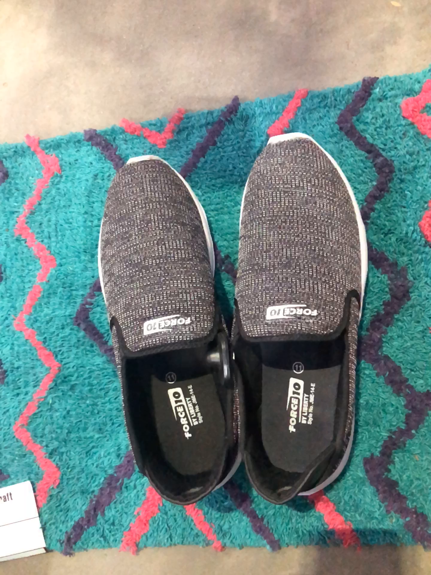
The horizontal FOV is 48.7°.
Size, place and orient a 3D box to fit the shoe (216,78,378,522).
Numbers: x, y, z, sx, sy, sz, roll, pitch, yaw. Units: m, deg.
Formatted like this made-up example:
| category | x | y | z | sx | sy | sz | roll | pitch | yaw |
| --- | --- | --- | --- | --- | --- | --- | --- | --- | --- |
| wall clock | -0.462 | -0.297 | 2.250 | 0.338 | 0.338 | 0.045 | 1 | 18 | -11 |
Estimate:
| category | x | y | z | sx | sy | sz | roll | pitch | yaw |
| --- | --- | --- | --- | --- | --- | --- | --- | --- | --- |
| shoe | 0.067 | 0.008 | 0.413 | 0.110 | 0.100 | 0.330 | -2 | 83 | 12 |

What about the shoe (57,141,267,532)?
| category | x | y | z | sx | sy | sz | roll | pitch | yaw |
| --- | --- | --- | --- | --- | --- | --- | --- | --- | --- |
| shoe | -0.046 | 0.040 | 0.437 | 0.110 | 0.100 | 0.300 | -14 | 81 | 10 |
